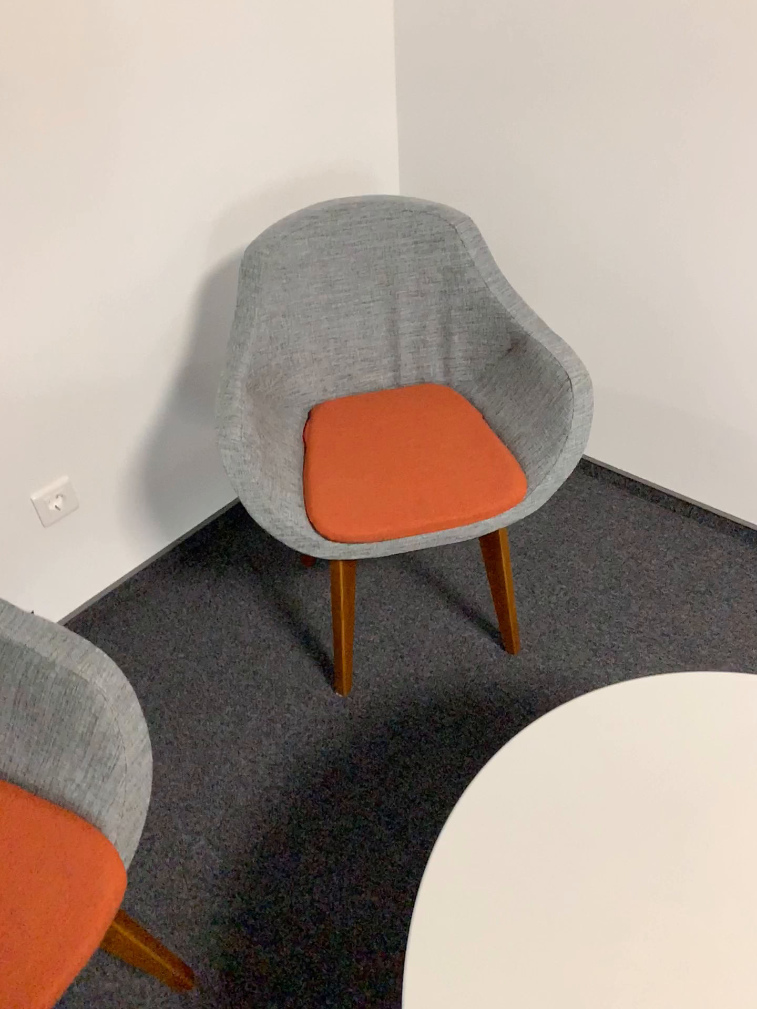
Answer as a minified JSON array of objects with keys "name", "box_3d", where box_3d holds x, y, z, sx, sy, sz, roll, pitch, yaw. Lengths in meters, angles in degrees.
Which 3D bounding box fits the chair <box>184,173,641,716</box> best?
[{"name":"chair","box_3d":[0.032,-0.101,1.518,0.630,0.835,0.503,-10,42,-8]}]
